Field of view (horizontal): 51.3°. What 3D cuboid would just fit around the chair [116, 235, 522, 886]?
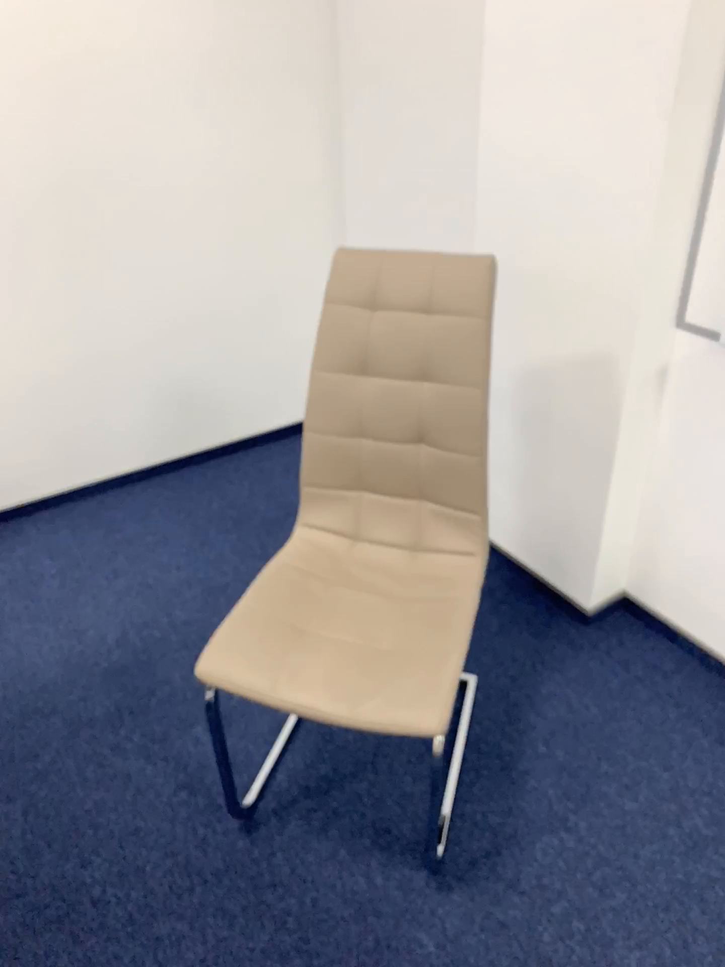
[{"bbox_3d":[-0.009,0.131,1.362,0.440,0.985,0.533,8,33,15],"label":"chair"}]
